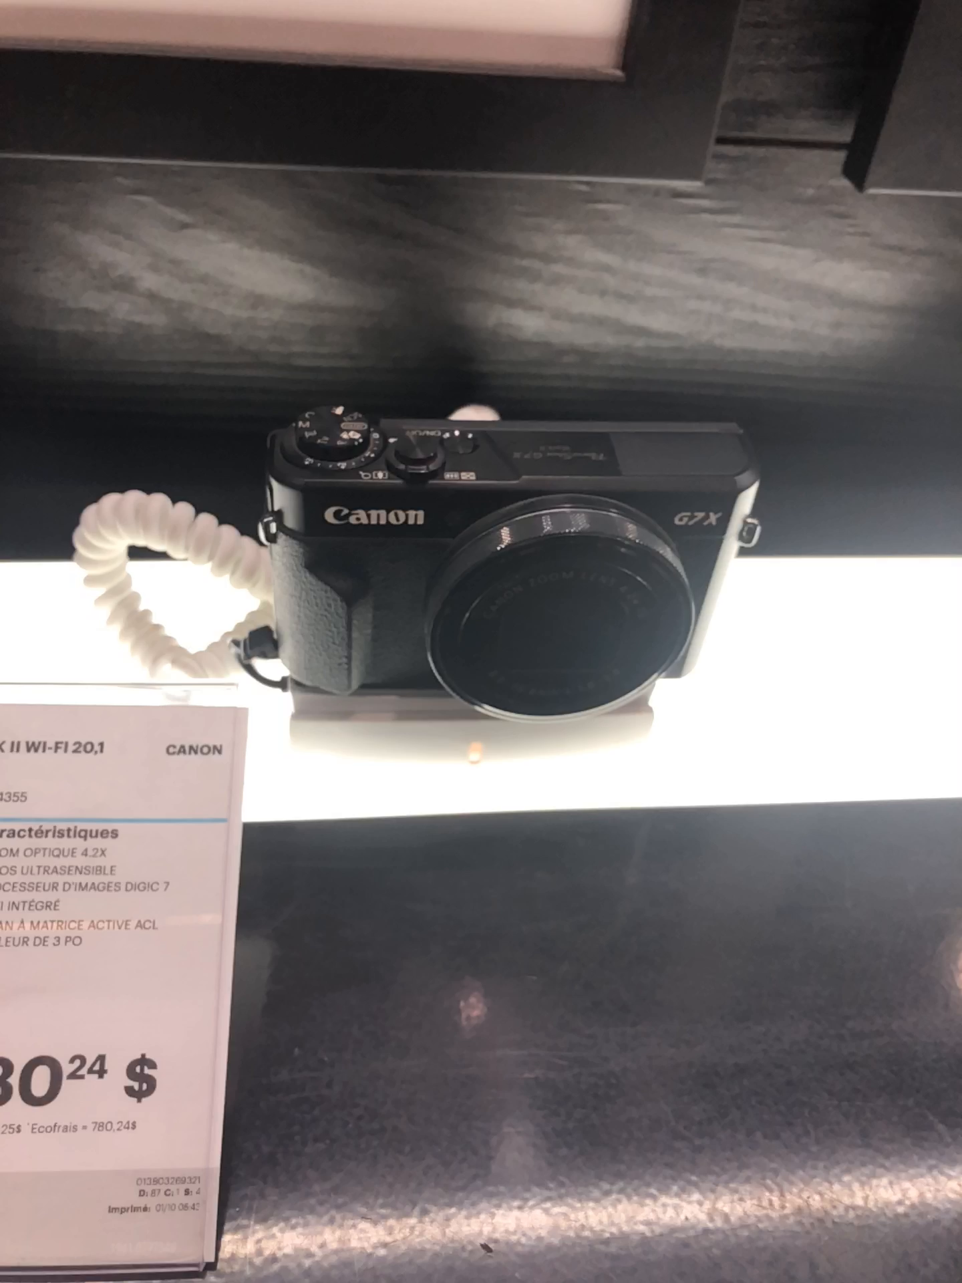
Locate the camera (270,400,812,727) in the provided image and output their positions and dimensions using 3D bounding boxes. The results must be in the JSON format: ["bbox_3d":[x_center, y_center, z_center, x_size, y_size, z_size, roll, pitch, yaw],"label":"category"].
[{"bbox_3d":[0.009,-0.016,0.230,0.100,0.056,0.038,0,42,-7],"label":"camera"}]
